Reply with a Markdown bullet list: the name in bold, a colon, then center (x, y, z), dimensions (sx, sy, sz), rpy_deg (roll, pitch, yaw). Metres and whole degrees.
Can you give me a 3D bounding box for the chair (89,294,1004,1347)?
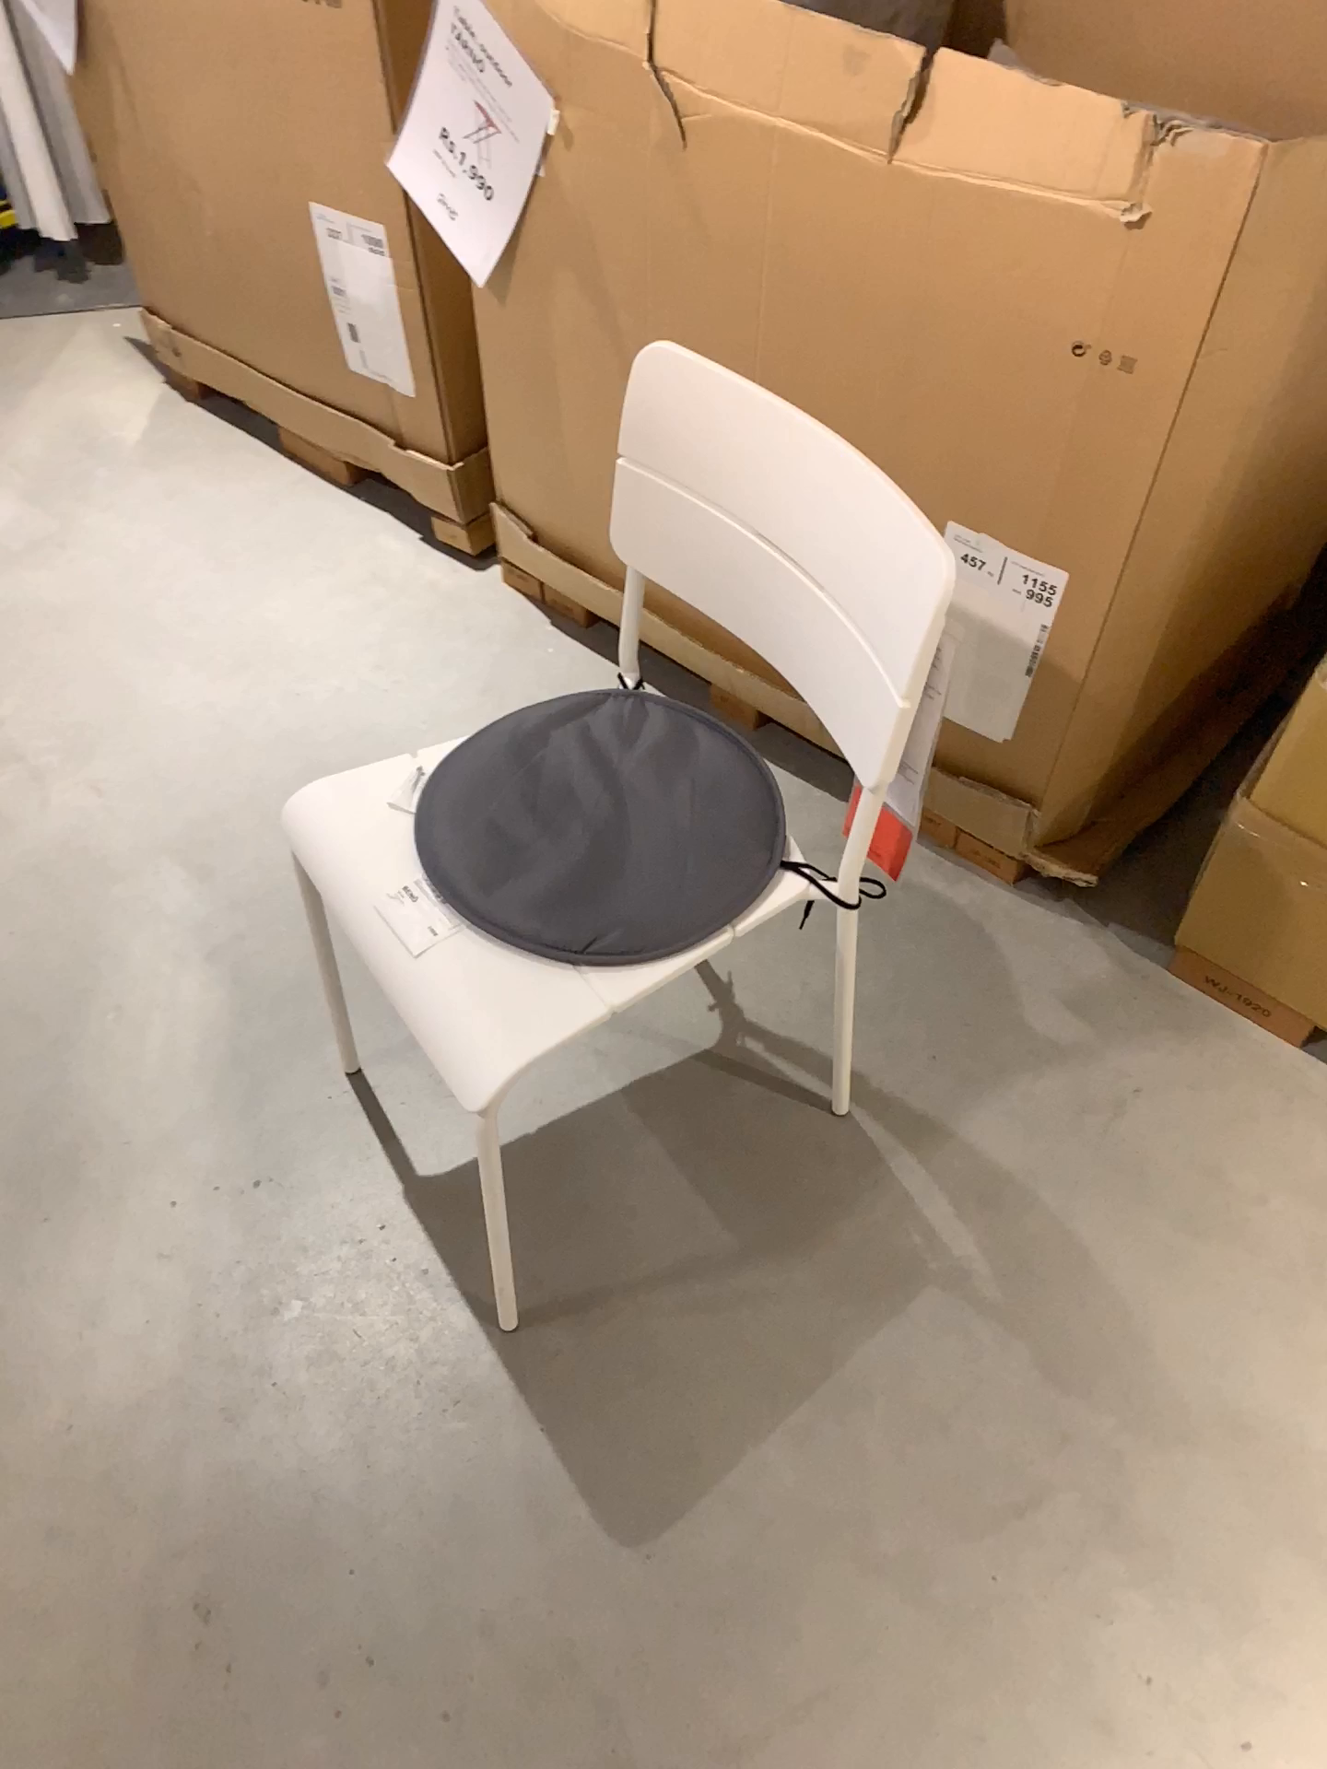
- **chair**: center (-0.102, -0.037, 1.235), dimensions (0.490, 0.717, 0.461), rpy_deg (-26, 55, -22)
